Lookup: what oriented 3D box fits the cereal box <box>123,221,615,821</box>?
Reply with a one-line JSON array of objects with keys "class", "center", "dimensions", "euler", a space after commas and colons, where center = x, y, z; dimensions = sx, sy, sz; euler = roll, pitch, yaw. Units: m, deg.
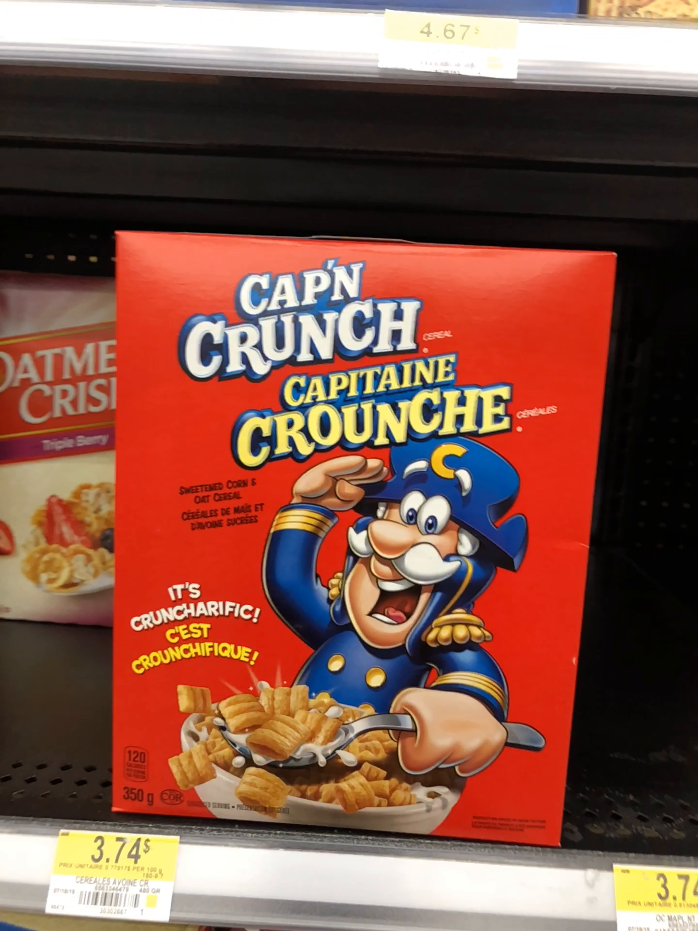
[{"class": "cereal box", "center": [0.003, 0.028, 0.399], "dimensions": [0.220, 0.279, 0.060], "euler": [3, 9, 2]}]
